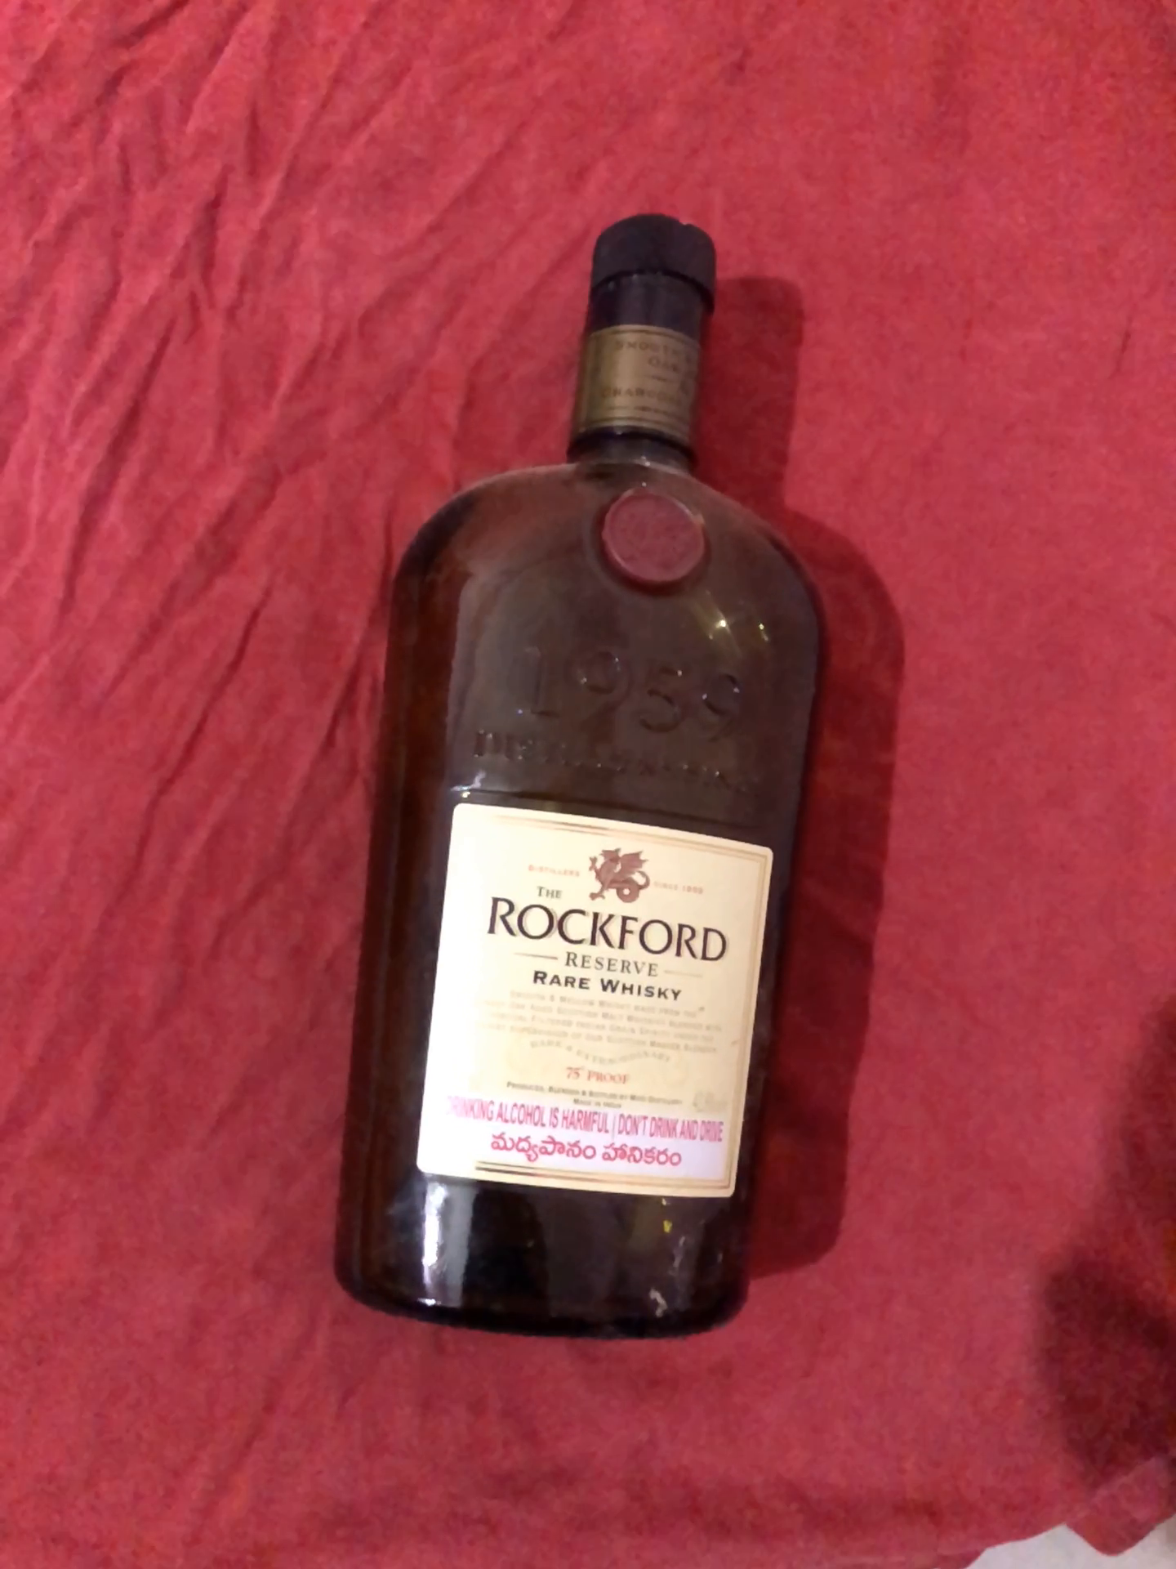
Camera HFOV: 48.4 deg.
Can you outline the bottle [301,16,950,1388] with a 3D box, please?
[{"bbox_3d":[0.008,-0.017,0.275,0.100,0.060,0.250,8,81,-11],"label":"bottle"}]
